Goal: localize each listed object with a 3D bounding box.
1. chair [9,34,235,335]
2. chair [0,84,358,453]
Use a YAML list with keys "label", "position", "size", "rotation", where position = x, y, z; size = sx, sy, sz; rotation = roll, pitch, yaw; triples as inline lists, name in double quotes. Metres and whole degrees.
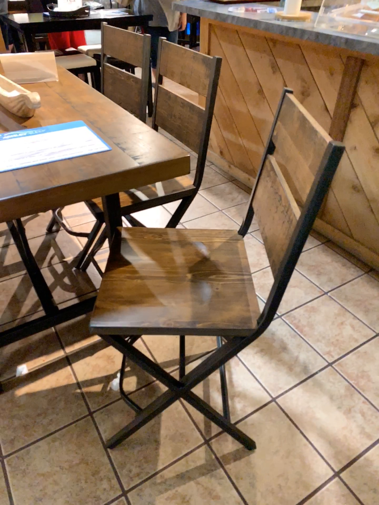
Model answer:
- label: "chair"
  position: [-0.231, -0.274, 1.605]
  size: [0.616, 1.003, 0.494]
  rotation: [-21, 43, -23]
- label: "chair"
  position: [-0.005, 0.100, 1.107]
  size: [0.615, 0.983, 0.444]
  rotation: [-1, 35, 3]
